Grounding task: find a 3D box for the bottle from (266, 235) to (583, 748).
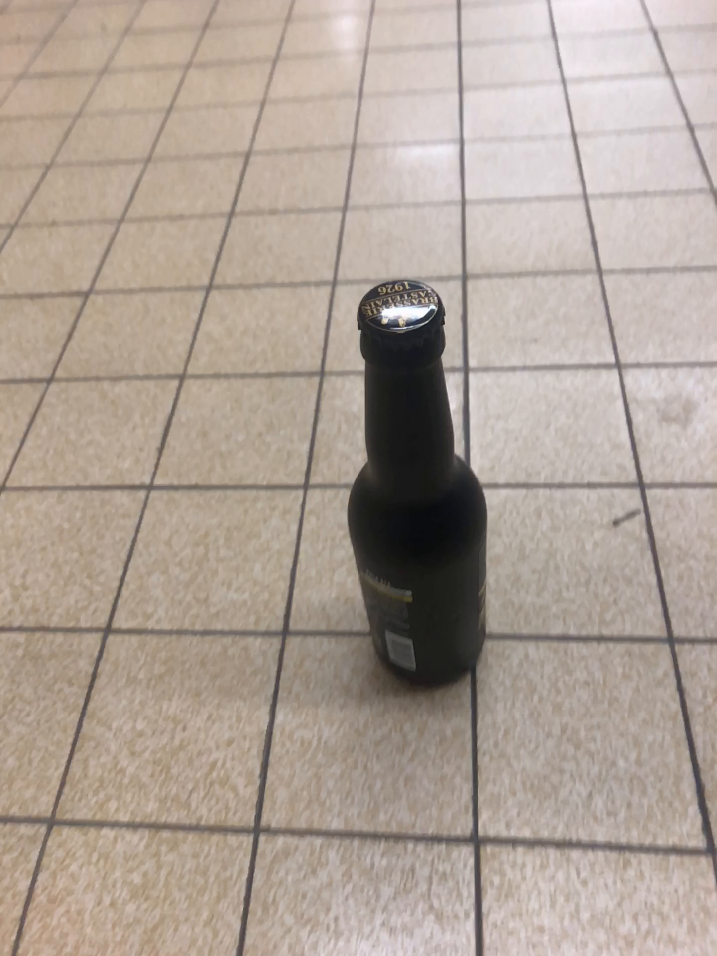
[{"bbox_3d":[0.030,0.023,0.326,0.070,0.219,0.070,-4,51,5],"label":"bottle"}]
